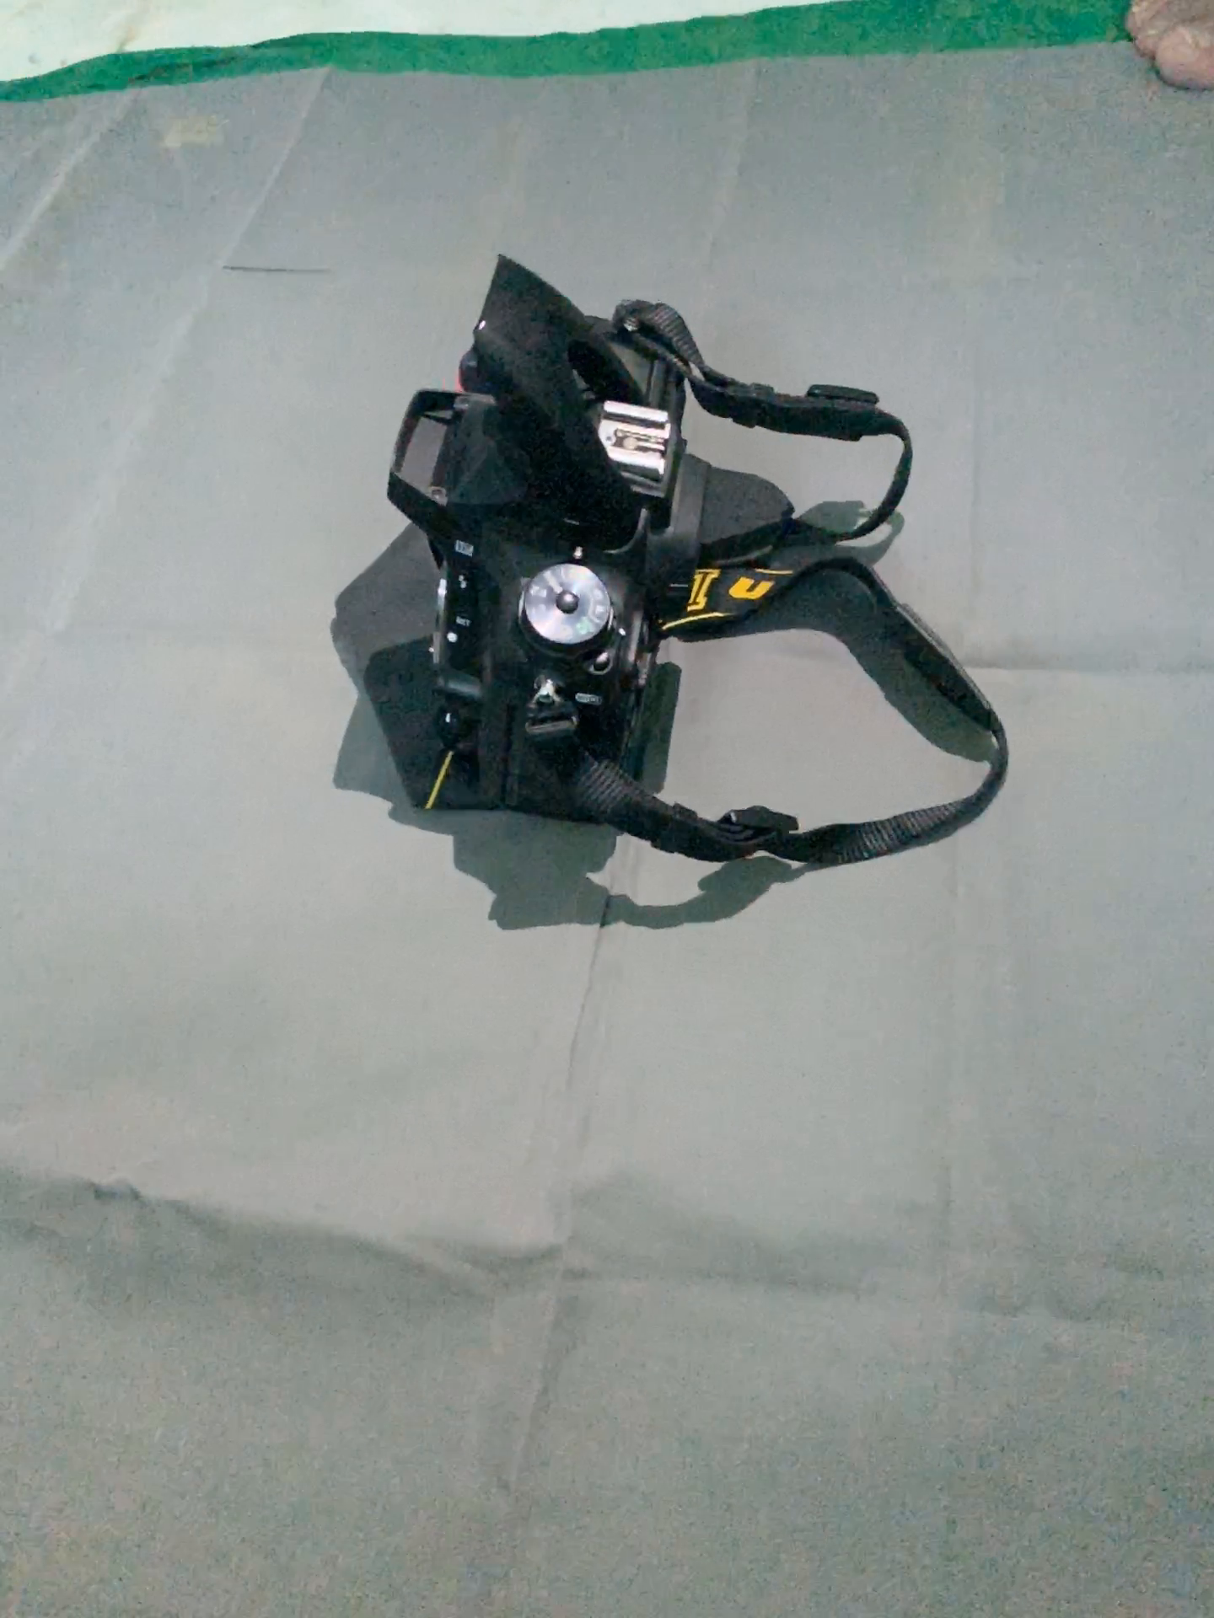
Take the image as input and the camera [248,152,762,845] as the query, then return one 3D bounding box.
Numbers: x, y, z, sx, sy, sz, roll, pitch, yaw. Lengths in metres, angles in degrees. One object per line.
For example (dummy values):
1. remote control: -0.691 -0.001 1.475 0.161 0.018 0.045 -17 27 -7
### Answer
1. camera: -0.017 -0.088 0.363 0.100 0.125 0.140 7 57 7
